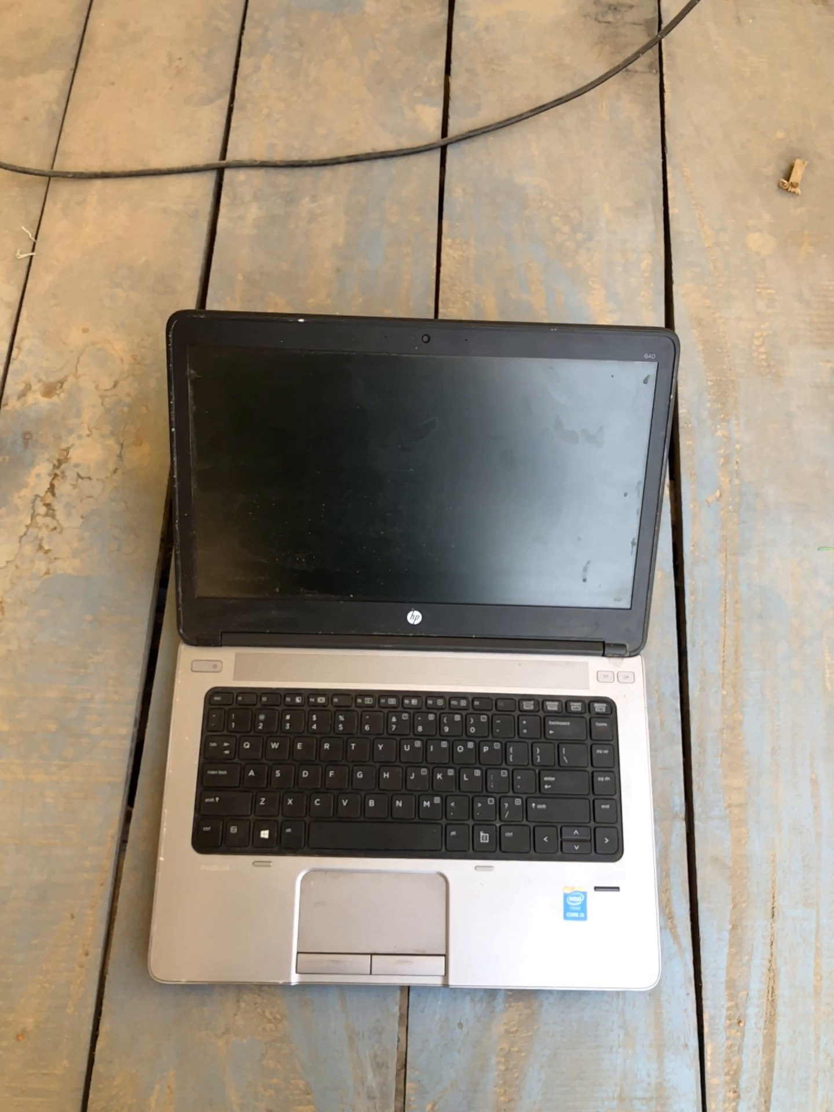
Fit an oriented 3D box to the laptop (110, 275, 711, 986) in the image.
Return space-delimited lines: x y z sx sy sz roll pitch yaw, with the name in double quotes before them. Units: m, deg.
"laptop" 0.004 0.042 0.577 0.306 0.123 0.389 3 74 0
